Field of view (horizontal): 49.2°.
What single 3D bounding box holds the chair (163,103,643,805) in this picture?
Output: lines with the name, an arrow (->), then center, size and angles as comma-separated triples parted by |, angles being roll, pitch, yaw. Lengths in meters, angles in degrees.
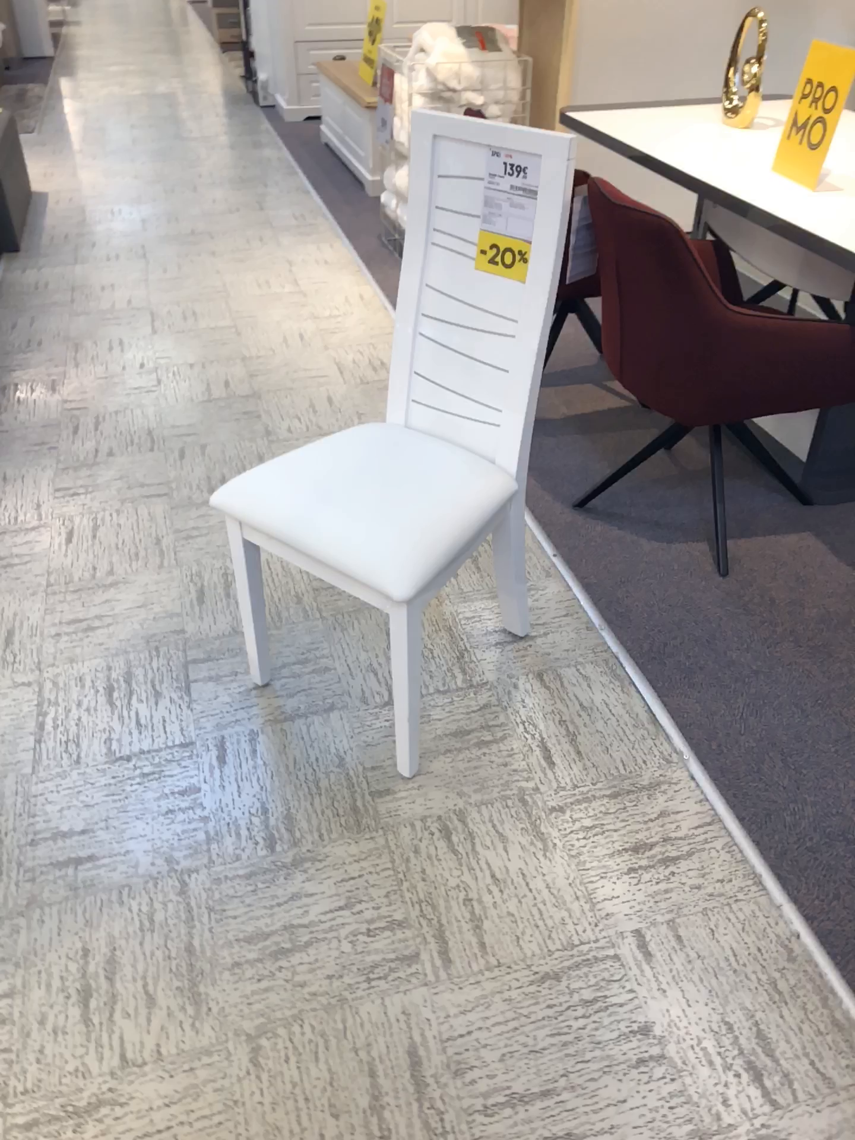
chair -> -0.024, -0.200, 1.639 | 0.450, 1.004, 0.543 | 25, 43, 30
